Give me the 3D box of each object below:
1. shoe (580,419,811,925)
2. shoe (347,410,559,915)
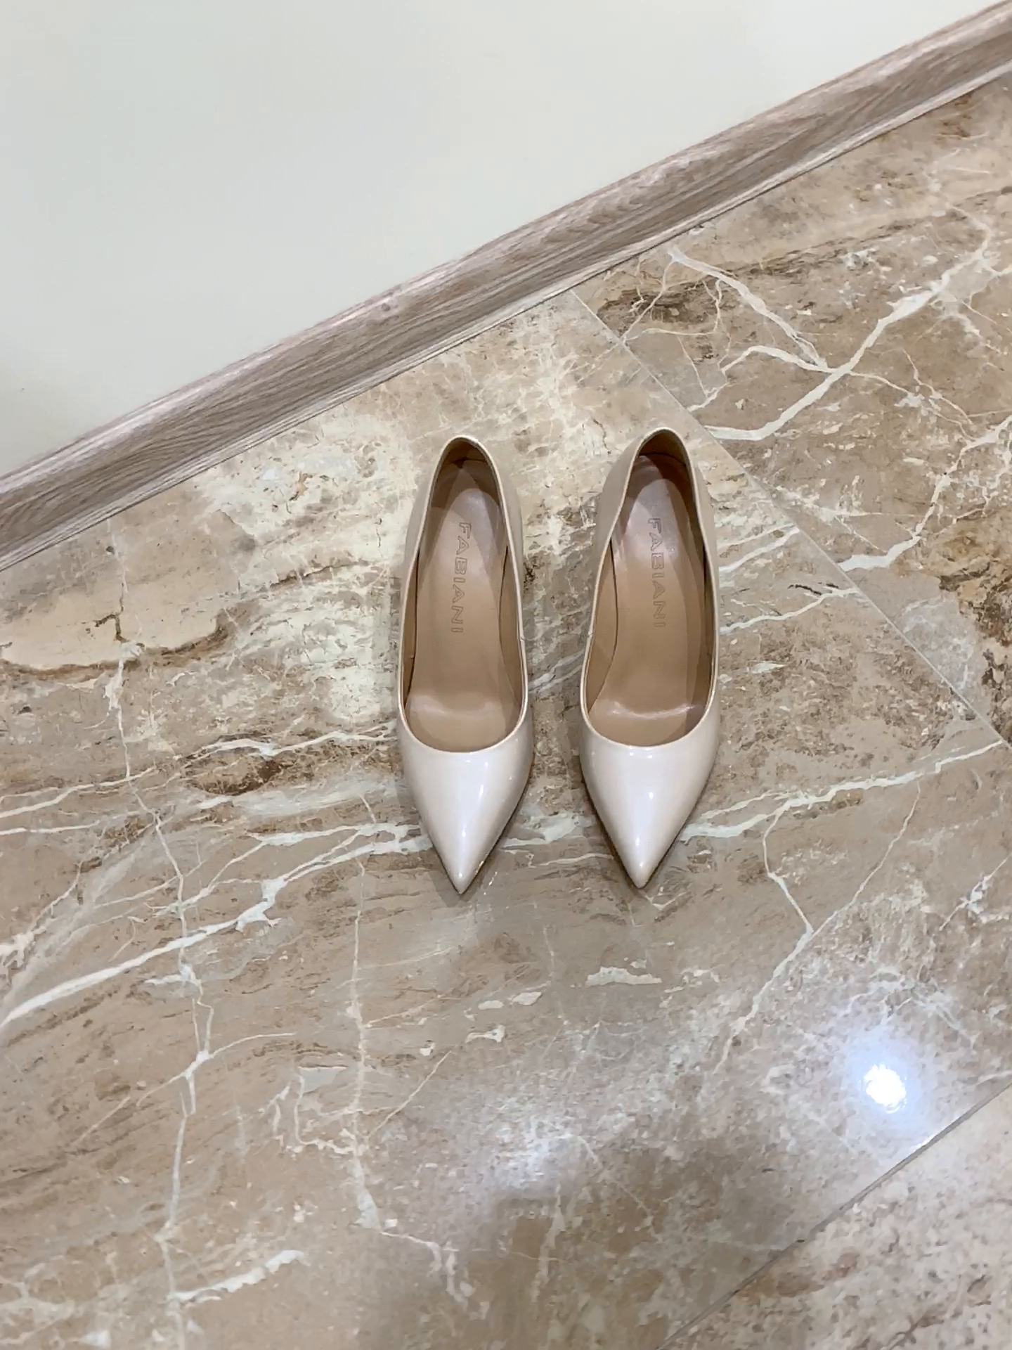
[{"bbox_3d":[0.087,-0.003,0.543,0.090,0.110,0.241,-1,62,3],"label":"shoe"},{"bbox_3d":[-0.019,-0.007,0.554,0.090,0.120,0.241,-1,62,3],"label":"shoe"}]
